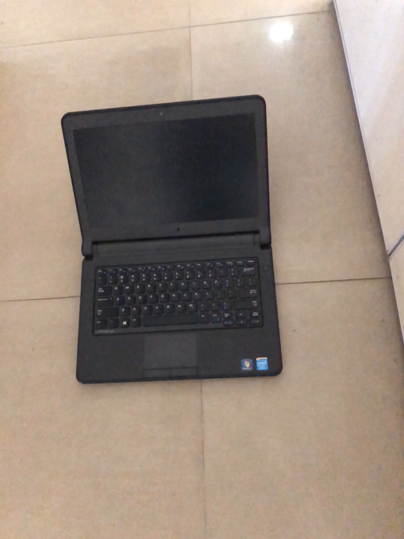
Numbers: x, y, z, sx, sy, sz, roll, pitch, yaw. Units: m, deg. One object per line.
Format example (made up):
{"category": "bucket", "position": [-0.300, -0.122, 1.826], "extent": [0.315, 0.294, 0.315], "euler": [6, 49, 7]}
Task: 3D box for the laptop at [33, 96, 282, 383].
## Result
{"category": "laptop", "position": [-0.055, -0.041, 0.691], "extent": [0.312, 0.154, 0.393], "euler": [-4, 69, 5]}
